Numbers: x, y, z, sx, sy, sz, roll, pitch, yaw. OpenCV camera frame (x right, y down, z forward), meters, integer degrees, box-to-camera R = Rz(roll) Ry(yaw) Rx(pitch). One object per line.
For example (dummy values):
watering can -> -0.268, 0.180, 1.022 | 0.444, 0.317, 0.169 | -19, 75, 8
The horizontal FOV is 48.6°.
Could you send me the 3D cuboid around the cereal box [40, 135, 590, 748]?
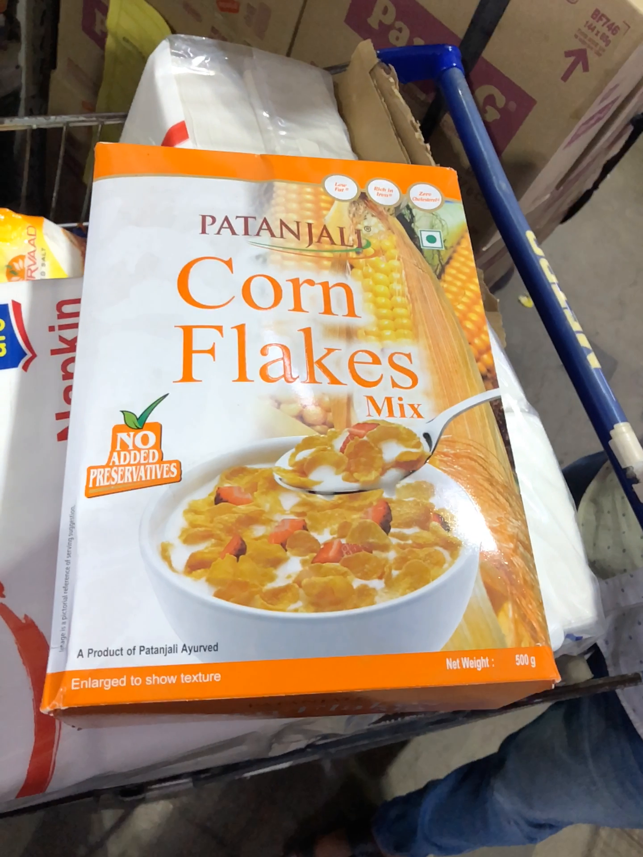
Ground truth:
cereal box -> -0.013, -0.003, 0.345 | 0.200, 0.080, 0.271 | 0, 65, -12
